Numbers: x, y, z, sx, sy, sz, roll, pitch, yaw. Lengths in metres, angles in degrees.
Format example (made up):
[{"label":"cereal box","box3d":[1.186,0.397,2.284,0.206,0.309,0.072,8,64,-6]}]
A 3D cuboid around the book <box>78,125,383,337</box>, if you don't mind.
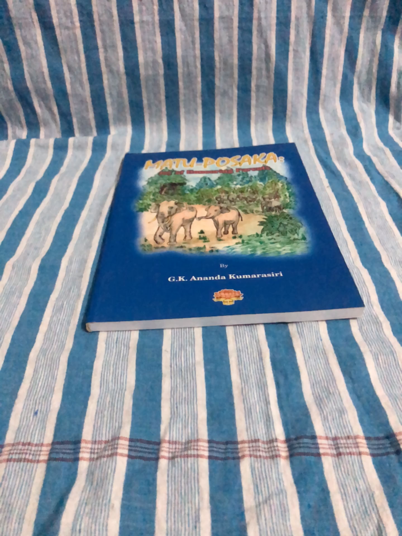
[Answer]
[{"label":"book","box3d":[0.015,-0.047,0.343,0.170,0.020,0.231,-4,40,2]}]
